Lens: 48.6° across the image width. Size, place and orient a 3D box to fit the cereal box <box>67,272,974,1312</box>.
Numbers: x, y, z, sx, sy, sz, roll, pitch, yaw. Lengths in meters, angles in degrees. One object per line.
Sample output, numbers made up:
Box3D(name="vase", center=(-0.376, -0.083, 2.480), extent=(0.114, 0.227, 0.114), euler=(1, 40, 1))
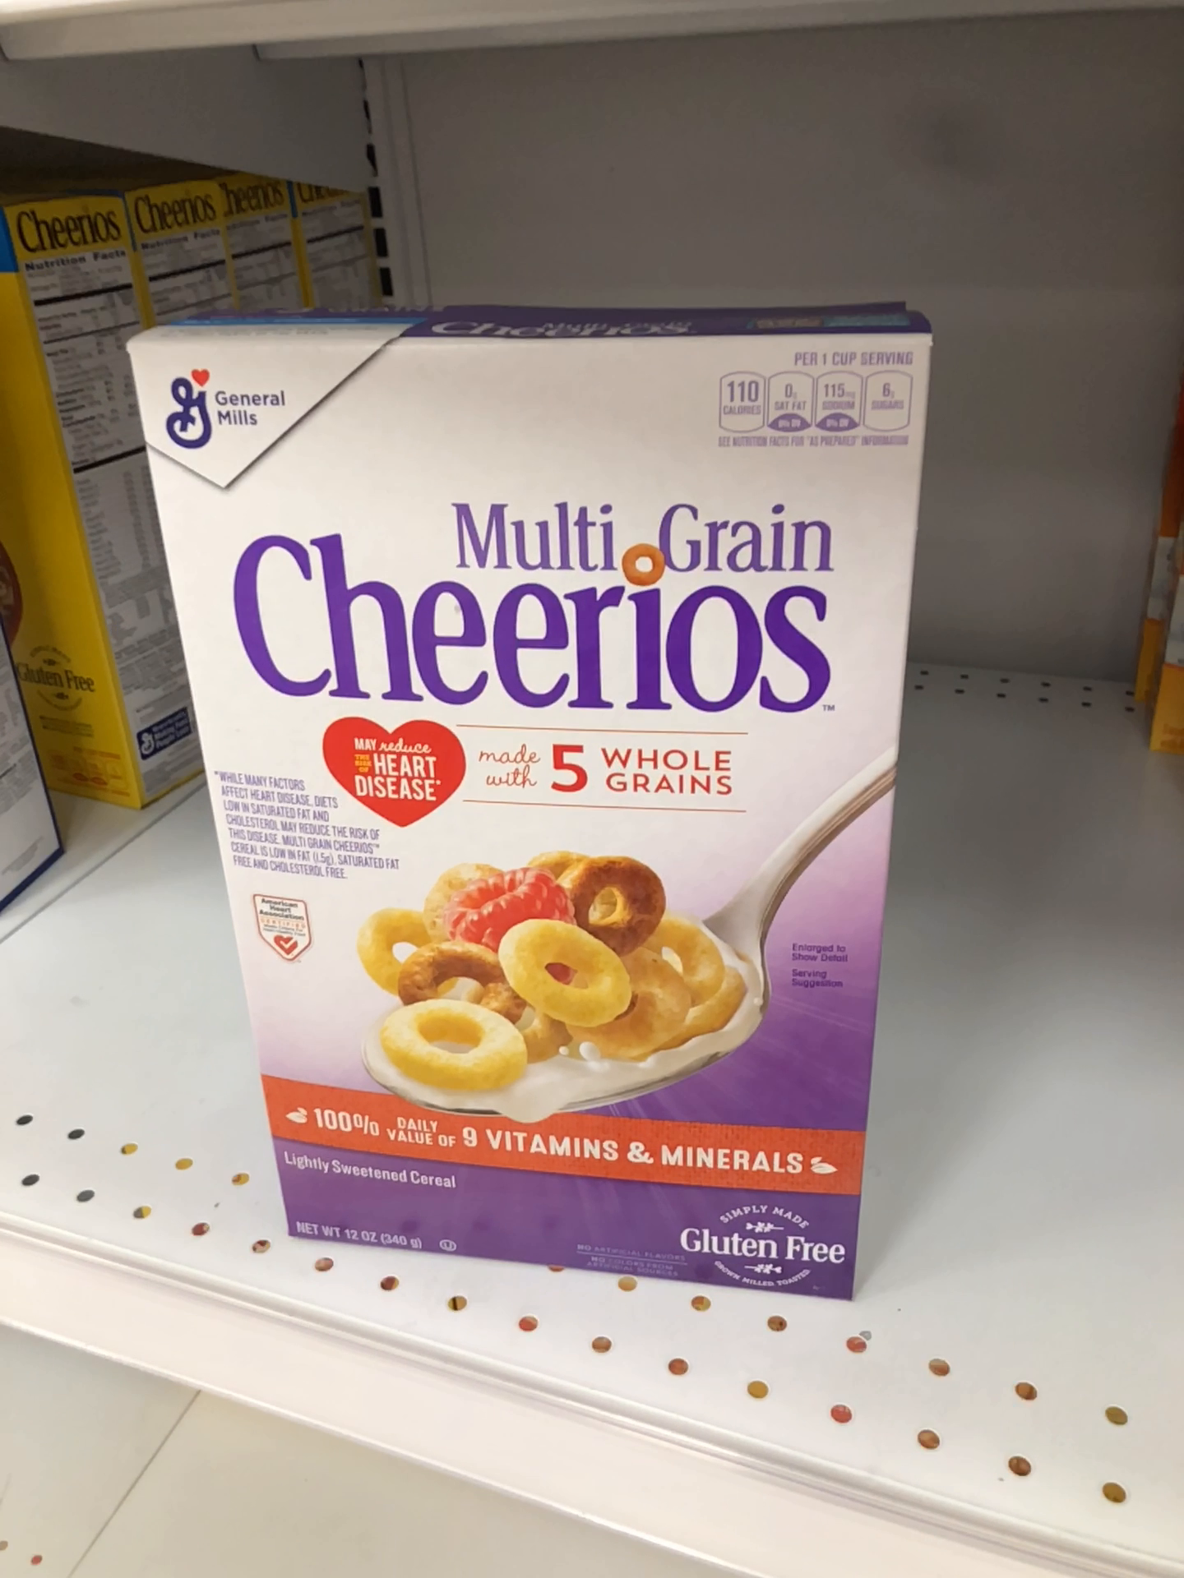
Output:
Box3D(name="cereal box", center=(-0.011, 0.011, 0.394), extent=(0.210, 0.299, 0.070), euler=(3, 27, 10))
